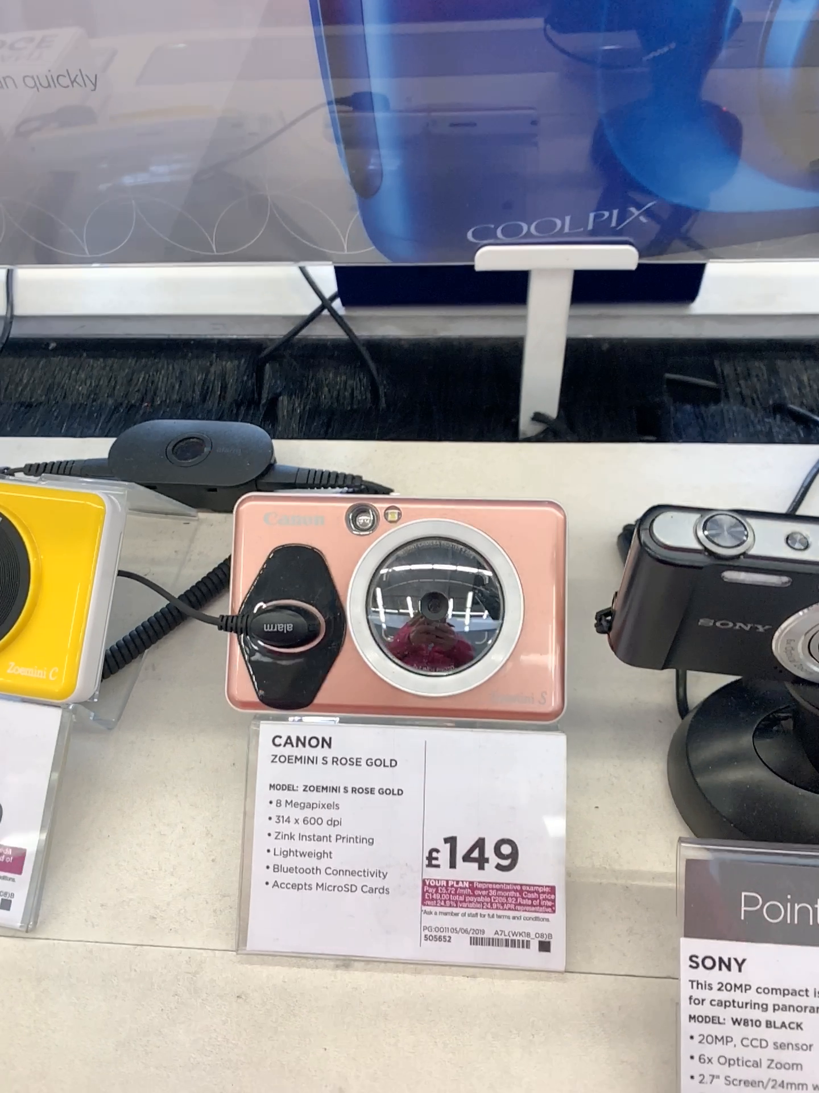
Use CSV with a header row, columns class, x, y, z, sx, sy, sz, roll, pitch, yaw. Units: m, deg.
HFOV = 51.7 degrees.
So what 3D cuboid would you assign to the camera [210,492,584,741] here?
class,x,y,z,sx,sy,sz,roll,pitch,yaw
camera,-0.004,0.024,0.305,0.129,0.020,0.083,1,85,5
